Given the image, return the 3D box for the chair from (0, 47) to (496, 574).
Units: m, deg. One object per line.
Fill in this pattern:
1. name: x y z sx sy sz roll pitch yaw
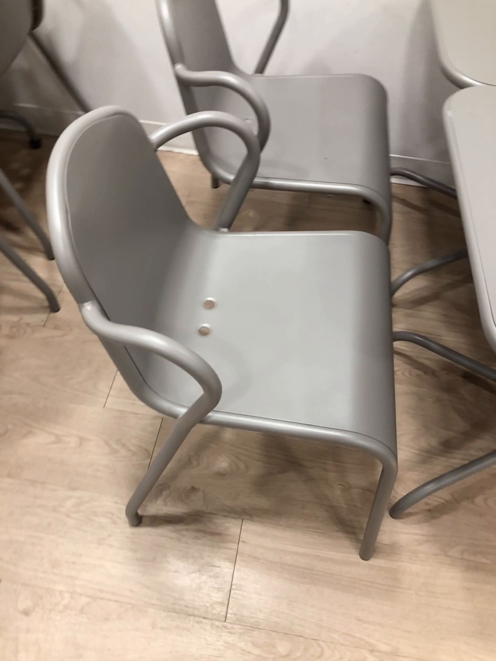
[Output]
1. chair: 0.033 0.033 0.909 0.610 0.707 0.482 8 55 3
